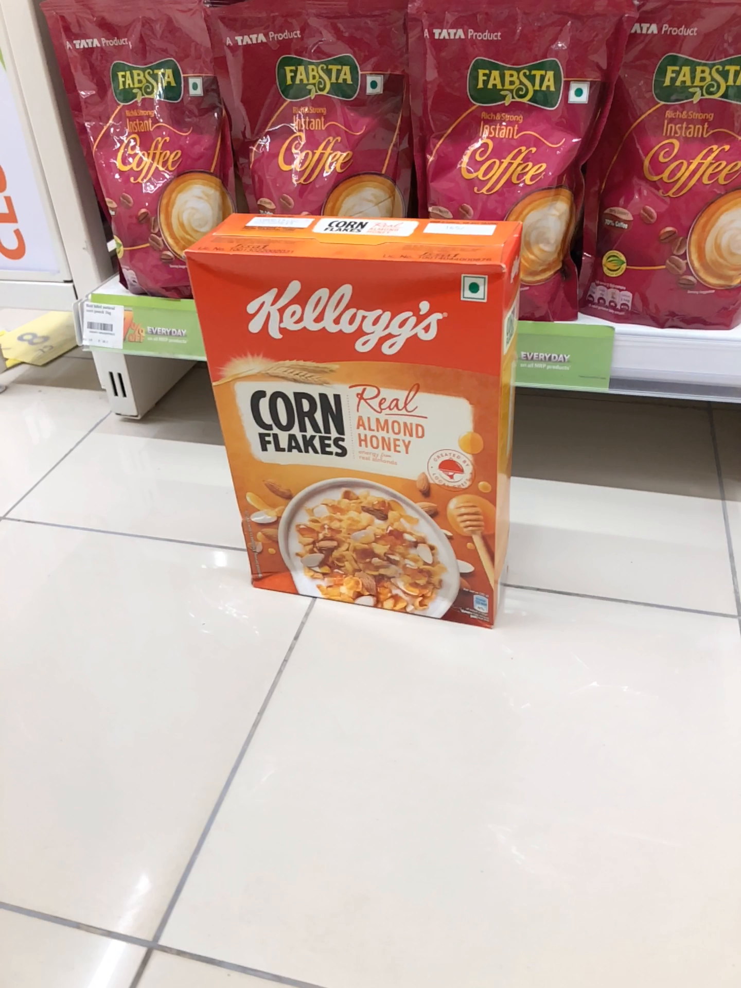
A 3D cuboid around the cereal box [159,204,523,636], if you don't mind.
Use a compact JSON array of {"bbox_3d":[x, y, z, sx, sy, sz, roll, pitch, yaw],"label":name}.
[{"bbox_3d":[-0.008,-0.047,0.555,0.200,0.268,0.081,7,35,17],"label":"cereal box"}]
